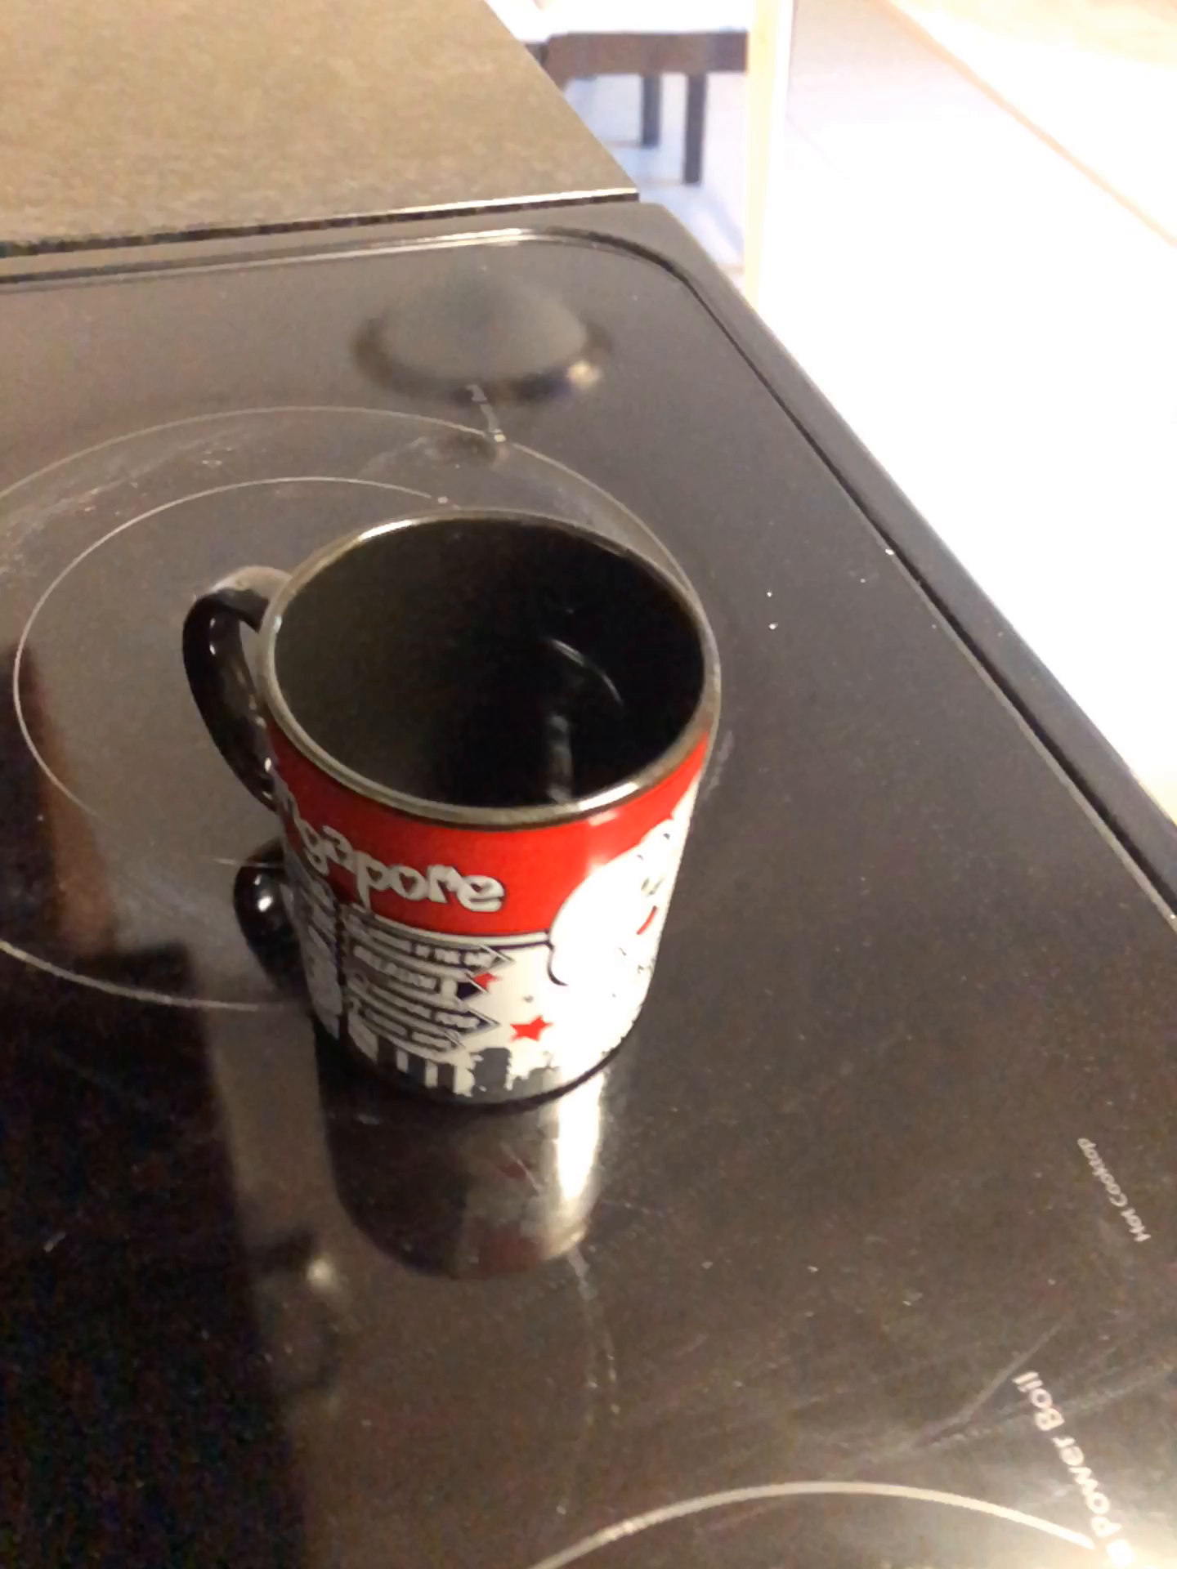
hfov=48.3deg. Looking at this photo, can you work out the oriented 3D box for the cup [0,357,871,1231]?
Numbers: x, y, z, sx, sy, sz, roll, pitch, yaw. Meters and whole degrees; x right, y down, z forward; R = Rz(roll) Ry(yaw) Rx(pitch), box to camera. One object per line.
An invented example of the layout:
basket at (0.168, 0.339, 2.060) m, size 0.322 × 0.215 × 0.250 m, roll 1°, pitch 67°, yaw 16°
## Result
cup at (-0.032, -0.004, 0.266) m, size 0.130 × 0.090 × 0.090 m, roll 36°, pitch 54°, yaw 23°
